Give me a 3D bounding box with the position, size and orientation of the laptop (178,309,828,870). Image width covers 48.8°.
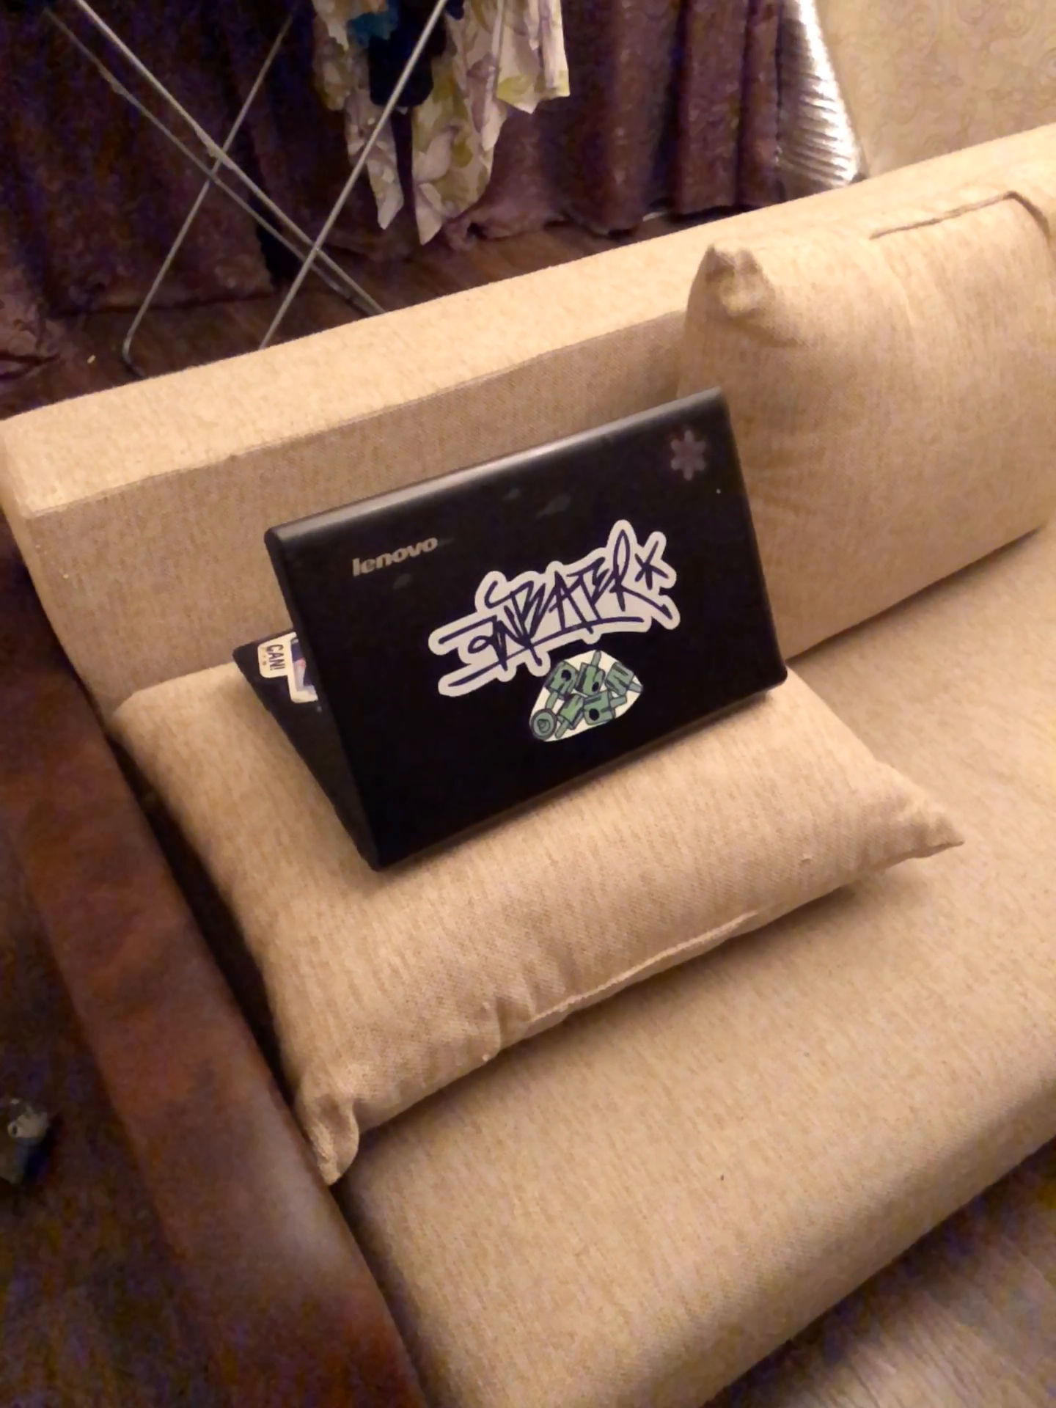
[{"bbox_3d":[-0.015,-0.114,0.955,0.413,0.222,0.268,-24,52,-25],"label":"laptop"}]
